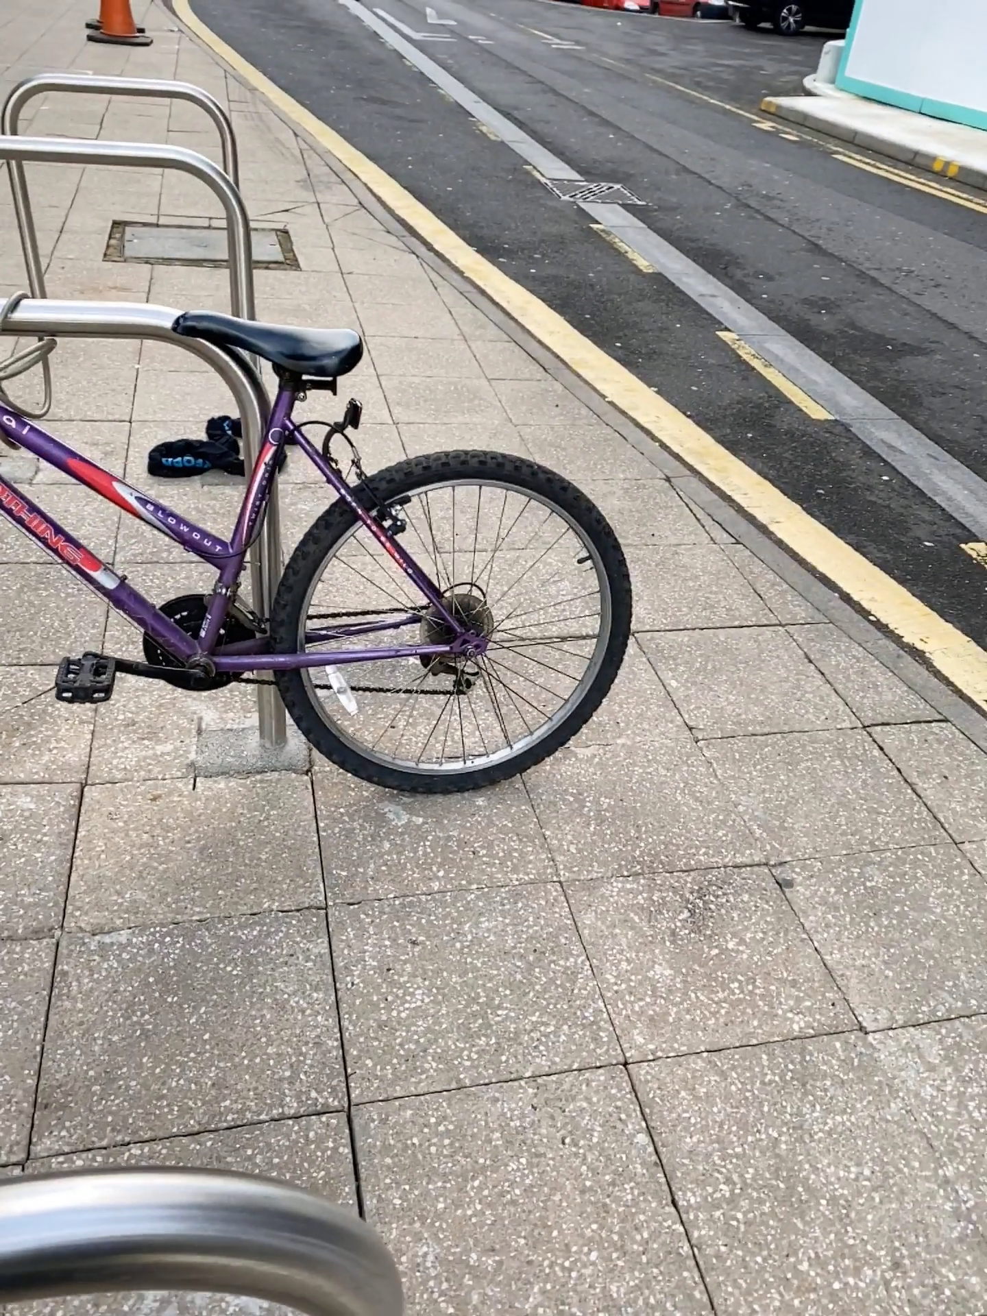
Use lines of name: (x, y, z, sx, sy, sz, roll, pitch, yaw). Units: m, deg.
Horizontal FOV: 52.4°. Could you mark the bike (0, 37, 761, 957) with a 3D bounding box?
bike: (-0.586, -0.239, 1.587, 1.734, 1.042, 0.584, -5, 37, -17)
